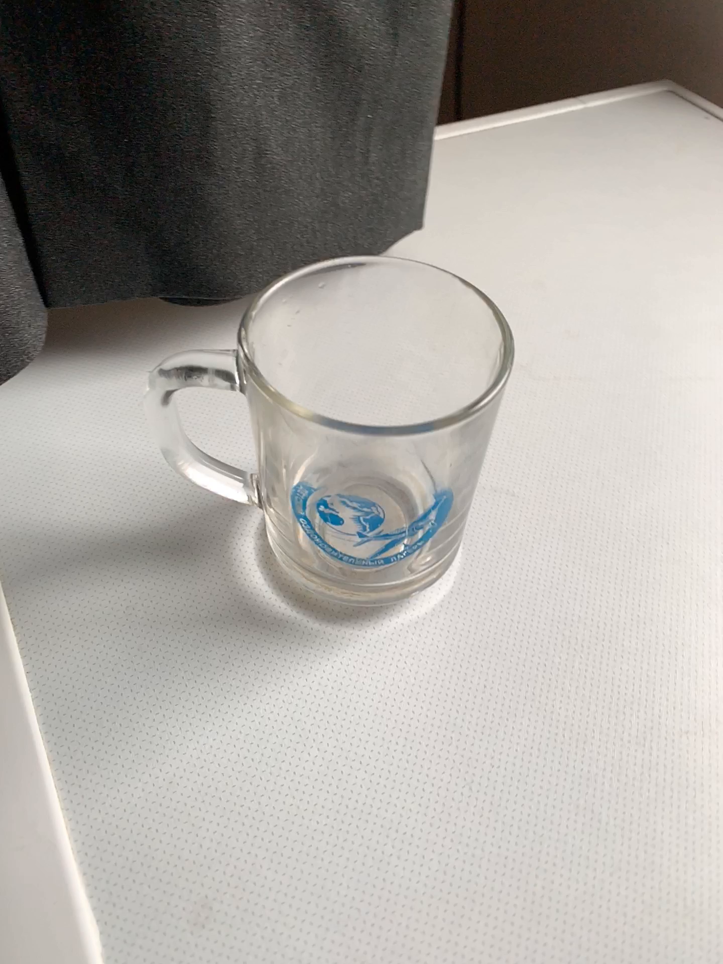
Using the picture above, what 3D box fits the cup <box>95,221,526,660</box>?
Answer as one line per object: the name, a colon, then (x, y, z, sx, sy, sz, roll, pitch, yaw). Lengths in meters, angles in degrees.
cup: (-0.009, -0.010, 0.214, 0.090, 0.089, 0.071, 9, 50, 5)
